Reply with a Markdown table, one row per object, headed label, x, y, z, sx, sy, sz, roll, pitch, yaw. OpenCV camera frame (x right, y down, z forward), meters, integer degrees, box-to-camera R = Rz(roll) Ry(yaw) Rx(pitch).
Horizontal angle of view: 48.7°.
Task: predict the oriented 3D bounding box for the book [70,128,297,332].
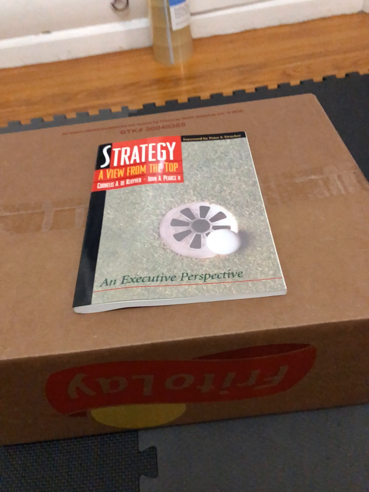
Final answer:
| label | x | y | z | sx | sy | sz | roll | pitch | yaw |
| --- | --- | --- | --- | --- | --- | --- | --- | --- | --- |
| book | -0.006 | -0.033 | 0.410 | 0.180 | 0.020 | 0.241 | -6 | 48 | 3 |
